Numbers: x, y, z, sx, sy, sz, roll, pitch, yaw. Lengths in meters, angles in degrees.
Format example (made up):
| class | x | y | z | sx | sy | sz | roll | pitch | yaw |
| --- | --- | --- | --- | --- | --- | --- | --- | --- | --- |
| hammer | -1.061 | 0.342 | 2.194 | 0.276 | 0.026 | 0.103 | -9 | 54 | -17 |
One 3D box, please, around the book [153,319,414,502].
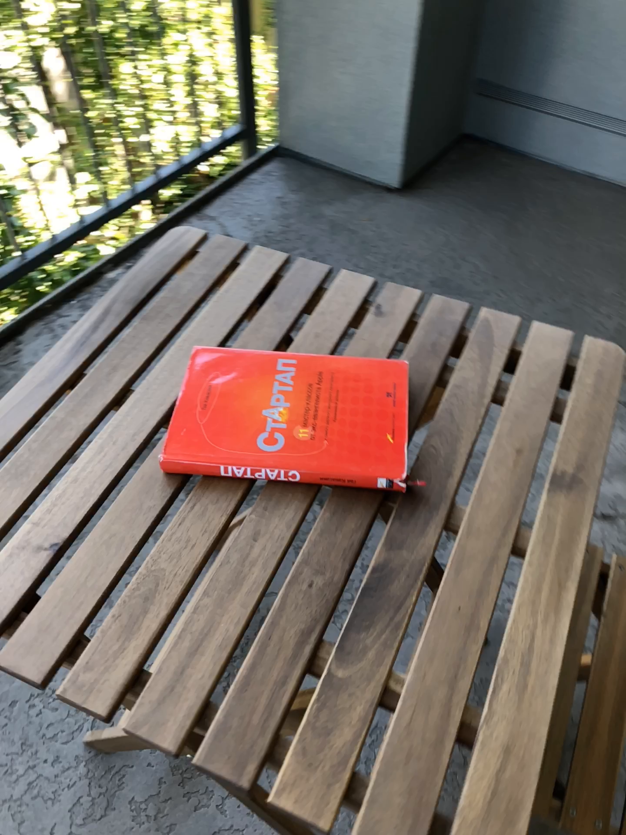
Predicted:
| class | x | y | z | sx | sy | sz | roll | pitch | yaw |
| --- | --- | --- | --- | --- | --- | --- | --- | --- | --- |
| book | -0.020 | -0.013 | 0.709 | 0.240 | 0.050 | 0.181 | 5 | 49 | 3 |
